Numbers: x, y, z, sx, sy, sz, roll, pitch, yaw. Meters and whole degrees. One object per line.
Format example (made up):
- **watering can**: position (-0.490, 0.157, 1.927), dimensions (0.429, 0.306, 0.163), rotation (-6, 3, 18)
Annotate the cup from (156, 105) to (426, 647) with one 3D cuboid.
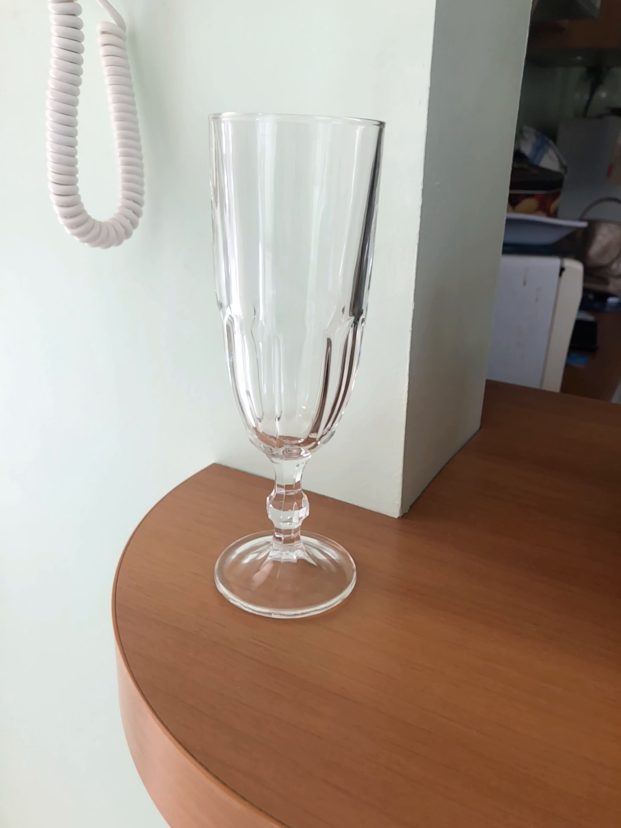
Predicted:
- **cup**: position (-0.011, -0.016, 0.248), dimensions (0.060, 0.169, 0.070), rotation (-10, 23, -28)
